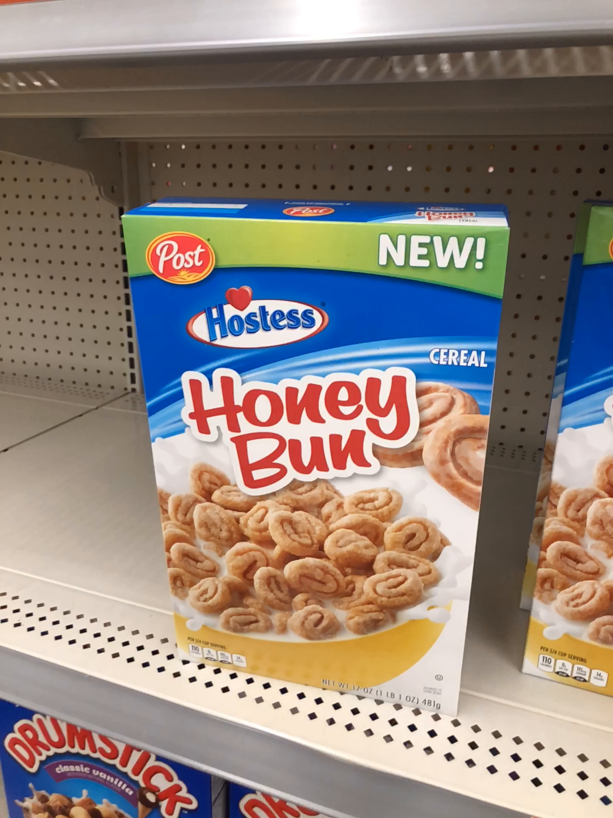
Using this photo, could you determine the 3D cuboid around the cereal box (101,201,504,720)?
[{"bbox_3d":[0.003,0.034,0.418,0.200,0.299,0.070,6,25,15],"label":"cereal box"}]
